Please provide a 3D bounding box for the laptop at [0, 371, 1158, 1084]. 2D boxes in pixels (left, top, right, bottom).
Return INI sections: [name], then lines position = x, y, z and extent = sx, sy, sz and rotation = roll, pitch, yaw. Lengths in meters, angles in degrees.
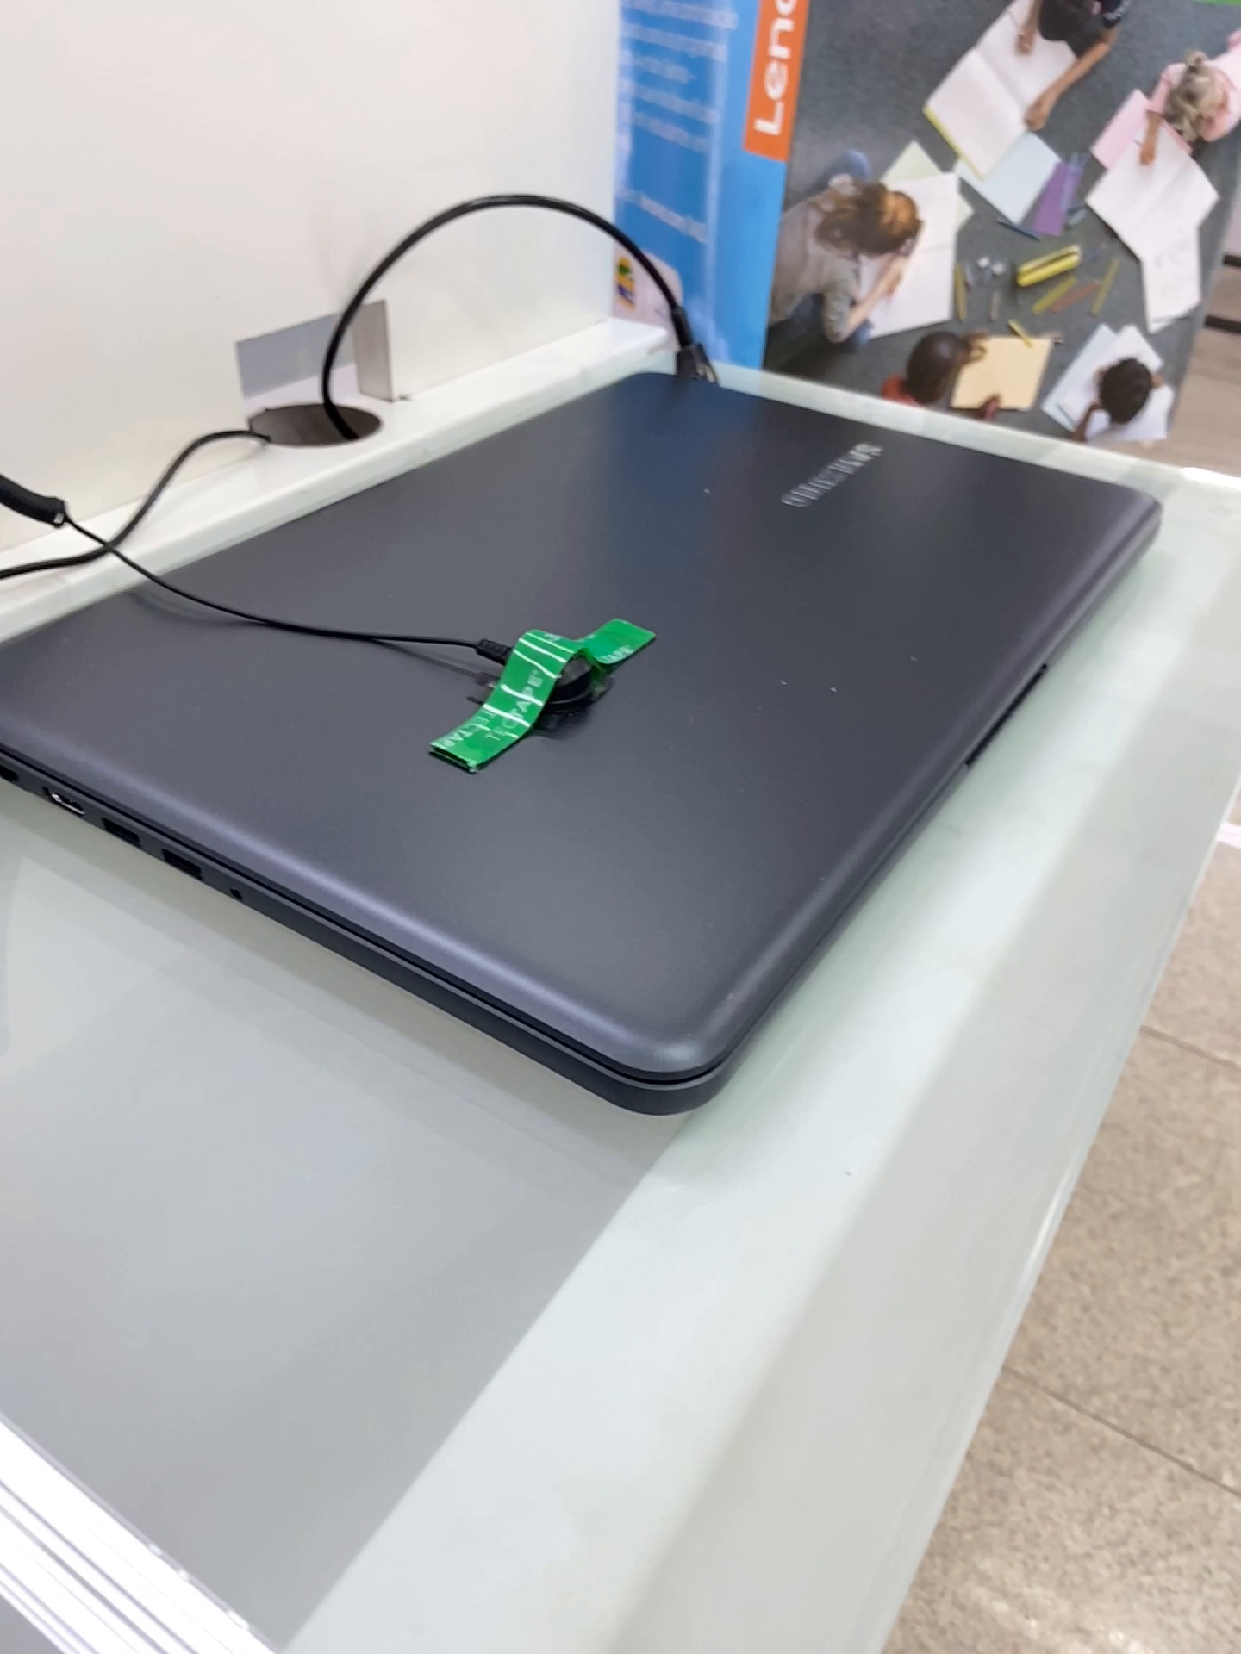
[laptop]
position = 0.013, -0.079, 0.413
extent = 0.232, 0.001, 0.352
rotation = 23, 41, 23
